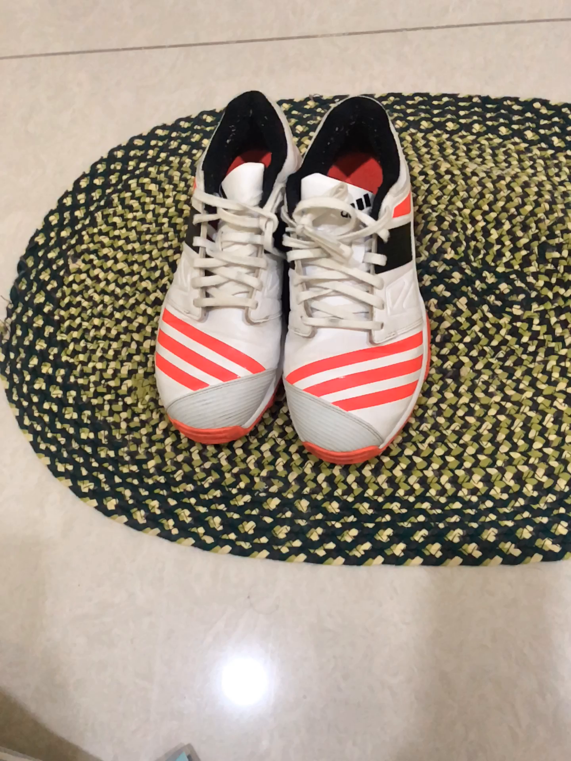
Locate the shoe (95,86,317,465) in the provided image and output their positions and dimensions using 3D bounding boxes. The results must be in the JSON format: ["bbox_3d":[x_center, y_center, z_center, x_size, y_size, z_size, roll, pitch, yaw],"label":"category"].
[{"bbox_3d":[-0.046,-0.084,0.483,0.100,0.090,0.270,6,69,9],"label":"shoe"}]

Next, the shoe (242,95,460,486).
[{"bbox_3d":[0.053,-0.066,0.450,0.110,0.100,0.250,6,69,9],"label":"shoe"}]
